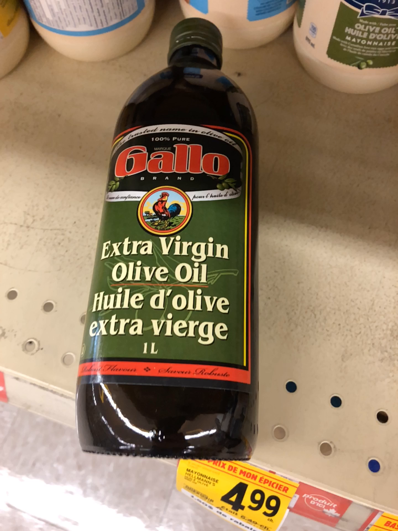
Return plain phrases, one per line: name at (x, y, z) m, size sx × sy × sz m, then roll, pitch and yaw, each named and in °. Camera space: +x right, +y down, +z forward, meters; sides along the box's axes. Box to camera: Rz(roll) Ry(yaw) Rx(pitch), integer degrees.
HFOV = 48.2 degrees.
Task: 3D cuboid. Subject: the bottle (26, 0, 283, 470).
bottle at (-0.007, -0.040, 0.247) m, size 0.090 × 0.090 × 0.271 m, roll 2°, pitch 68°, yaw 4°
